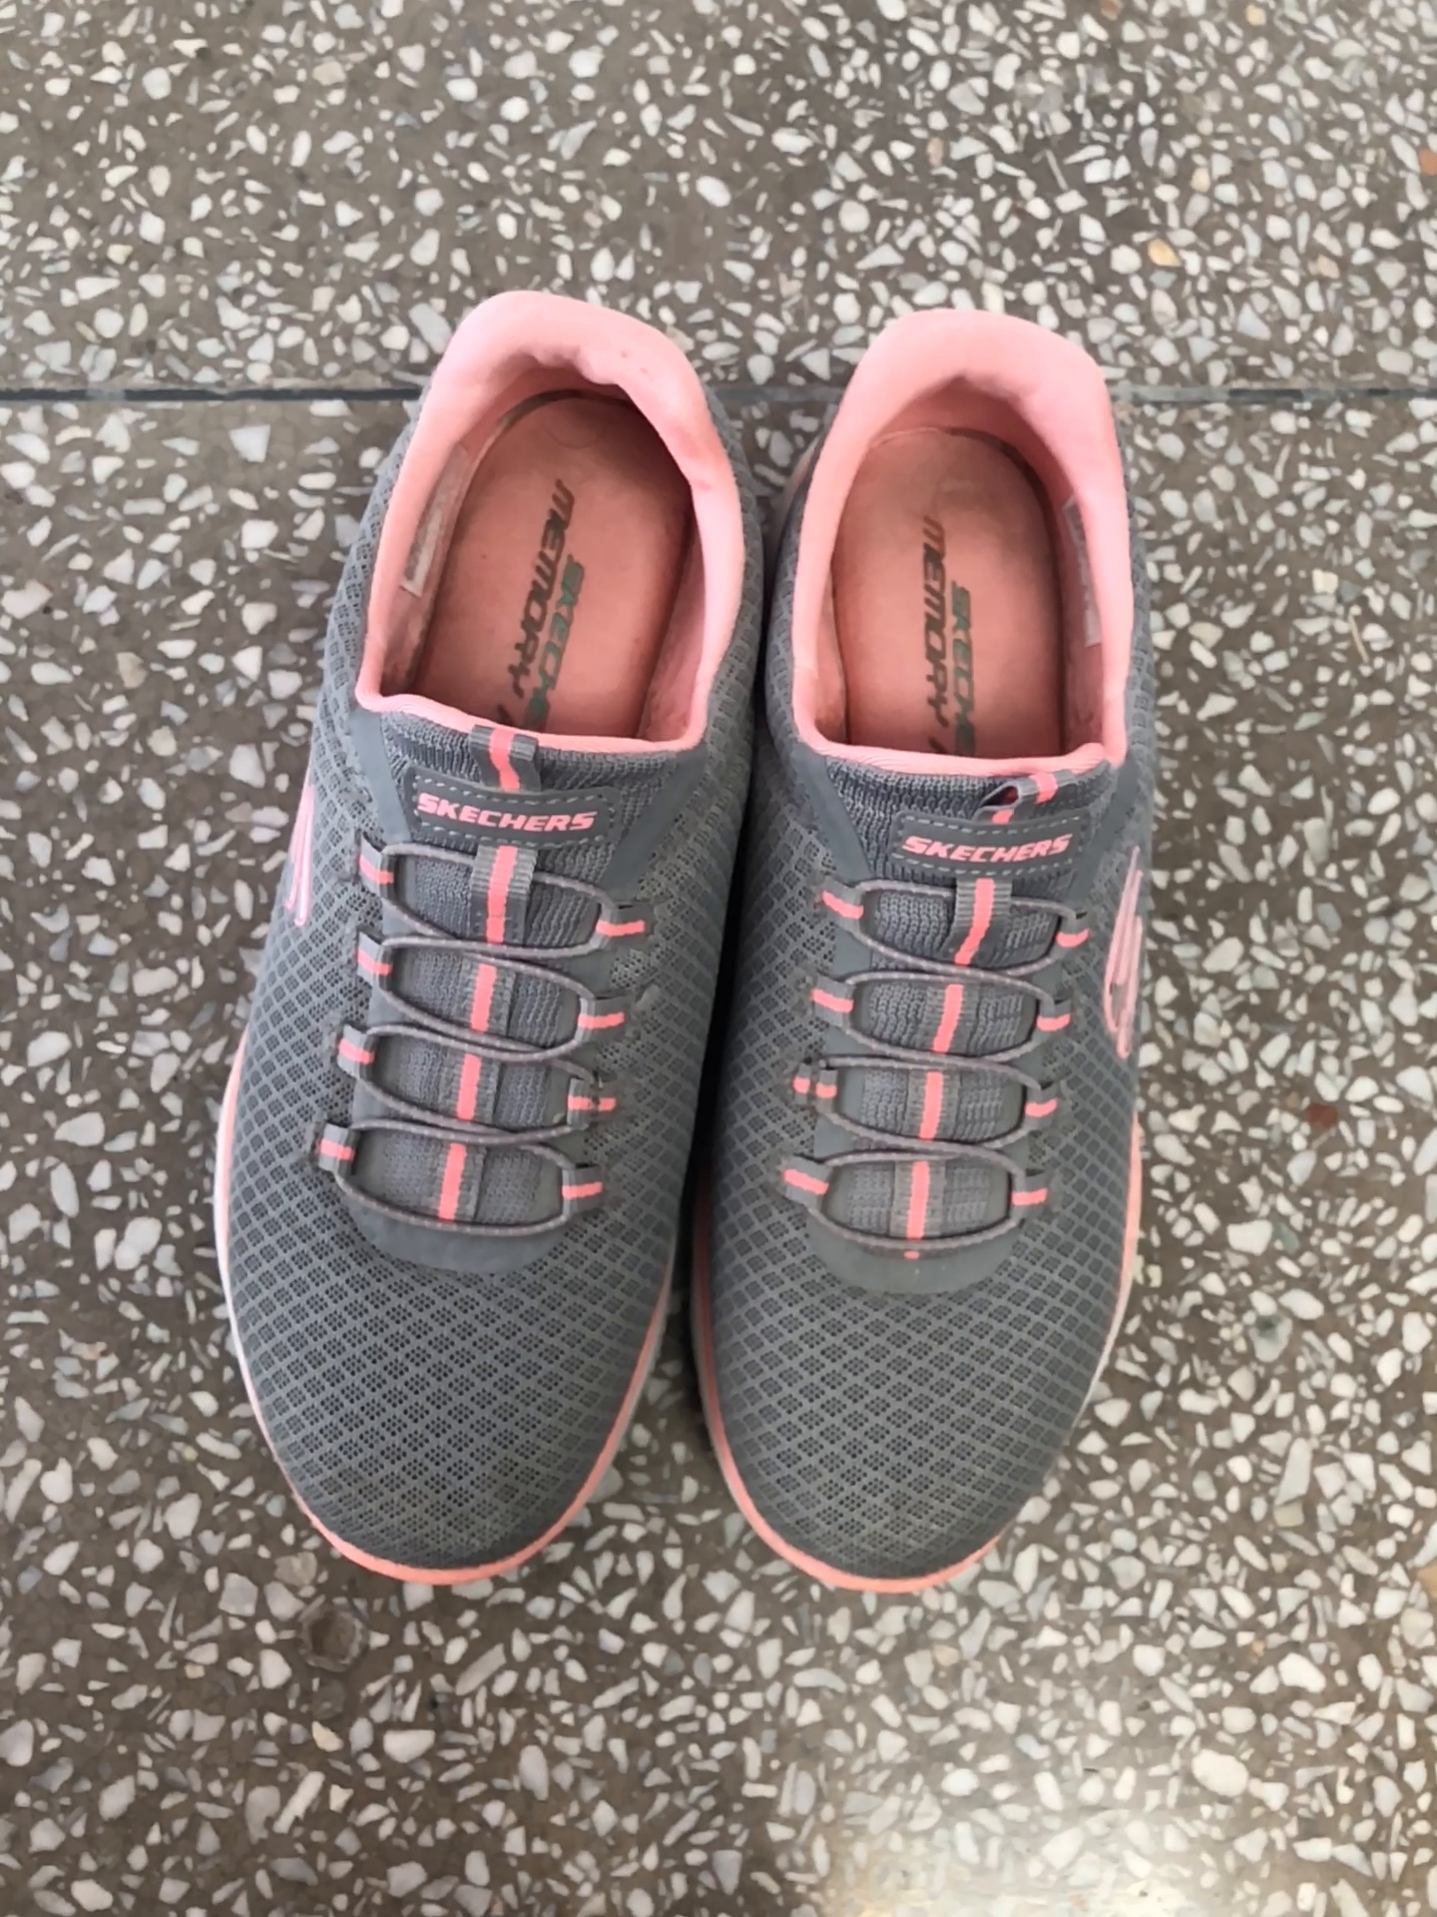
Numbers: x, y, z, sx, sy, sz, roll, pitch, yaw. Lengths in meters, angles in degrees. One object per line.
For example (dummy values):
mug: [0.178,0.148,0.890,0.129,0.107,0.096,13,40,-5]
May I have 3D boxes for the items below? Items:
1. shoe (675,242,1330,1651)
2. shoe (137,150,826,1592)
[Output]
shoe: [0.050,-0.001,0.319,0.090,0.100,0.230,6,82,-4]
shoe: [-0.040,-0.014,0.322,0.090,0.100,0.240,6,82,-4]
